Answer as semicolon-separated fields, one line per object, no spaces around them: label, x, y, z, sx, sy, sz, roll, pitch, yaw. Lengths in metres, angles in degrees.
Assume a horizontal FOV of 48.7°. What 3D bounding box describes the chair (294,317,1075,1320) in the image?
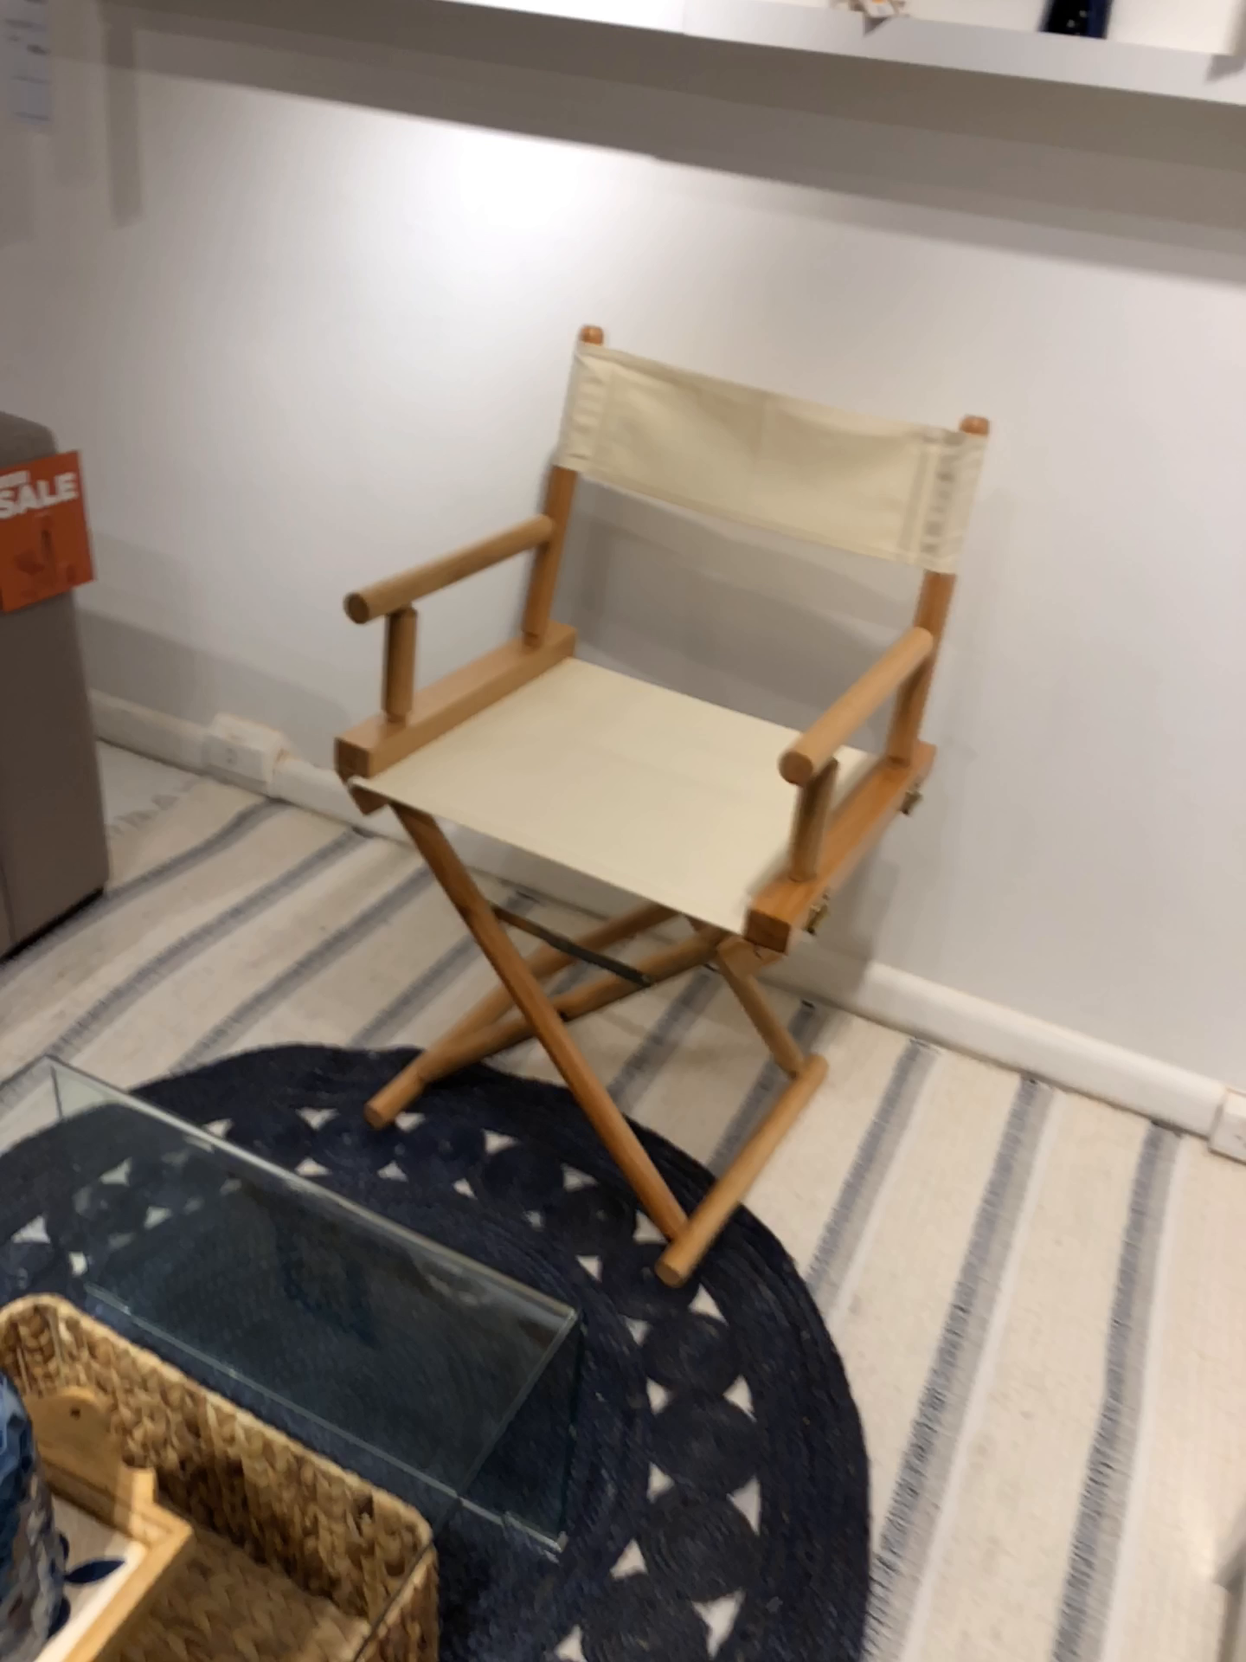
chair;0.051;-0.055;1.495;0.541;0.793;0.564;21;34;22
